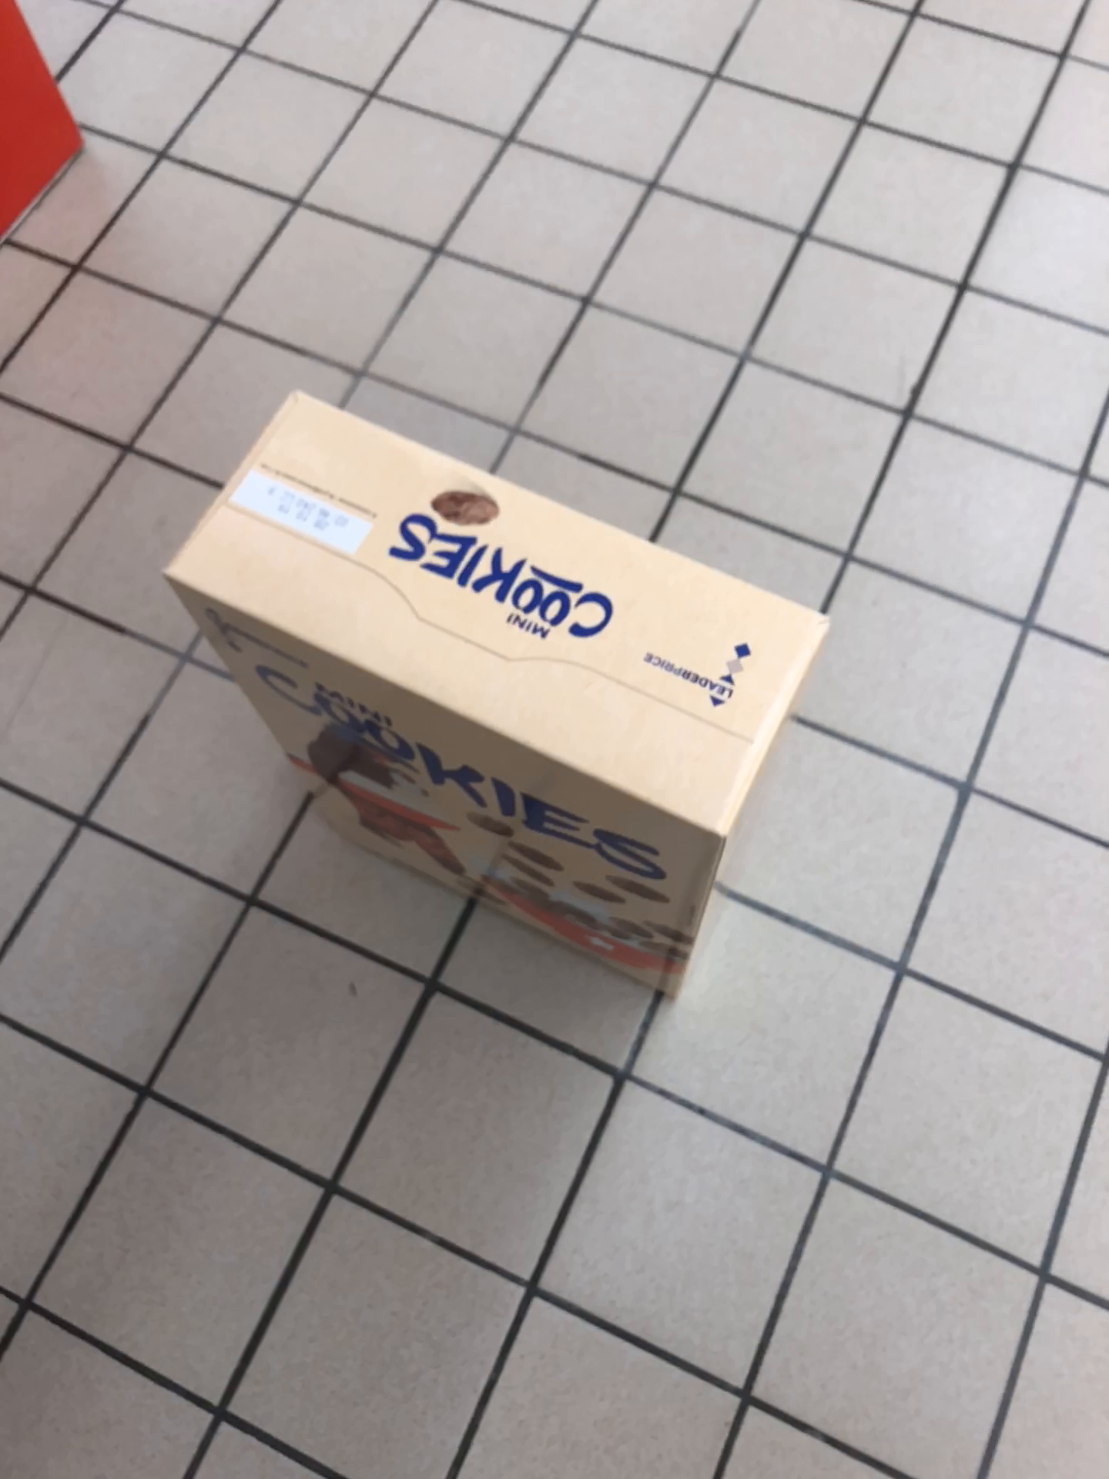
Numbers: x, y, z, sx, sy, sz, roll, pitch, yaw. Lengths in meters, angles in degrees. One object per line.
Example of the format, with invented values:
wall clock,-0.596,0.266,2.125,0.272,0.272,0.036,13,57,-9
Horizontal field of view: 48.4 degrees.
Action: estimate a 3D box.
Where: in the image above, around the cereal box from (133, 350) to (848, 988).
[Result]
cereal box,-0.014,-0.003,0.499,0.200,0.279,0.080,24,72,12
